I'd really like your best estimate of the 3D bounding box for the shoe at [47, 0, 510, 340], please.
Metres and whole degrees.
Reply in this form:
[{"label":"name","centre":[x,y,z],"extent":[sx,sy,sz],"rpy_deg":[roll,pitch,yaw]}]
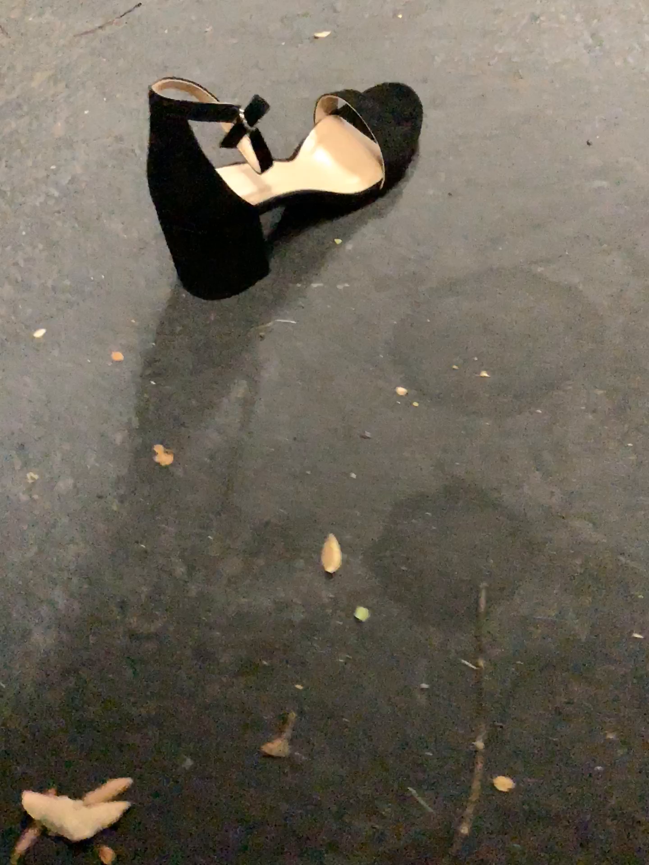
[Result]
[{"label":"shoe","centre":[-0.013,-0.220,0.483],"extent":[0.120,0.140,0.270],"rpy_deg":[36,71,25]}]
